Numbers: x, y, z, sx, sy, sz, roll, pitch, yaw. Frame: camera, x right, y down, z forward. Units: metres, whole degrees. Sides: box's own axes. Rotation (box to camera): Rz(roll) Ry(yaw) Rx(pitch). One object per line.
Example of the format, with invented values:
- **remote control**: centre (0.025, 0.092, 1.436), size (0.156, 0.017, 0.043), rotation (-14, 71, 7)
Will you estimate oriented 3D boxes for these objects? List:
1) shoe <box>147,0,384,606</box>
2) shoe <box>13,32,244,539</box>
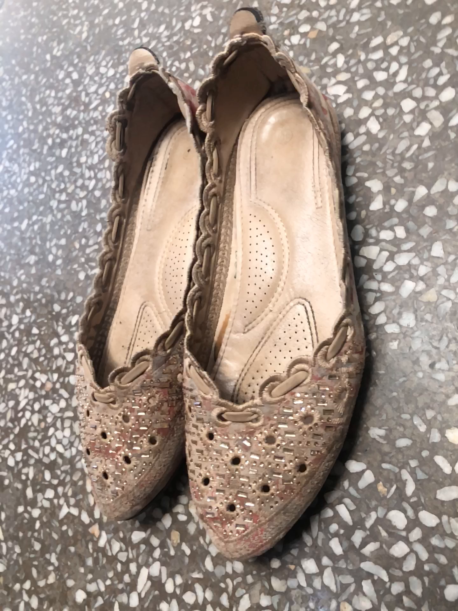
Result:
- **shoe**: centre (0.022, -0.015, 0.256), size (0.090, 0.040, 0.270), rotation (-1, 78, 32)
- **shoe**: centre (-0.056, -0.020, 0.312), size (0.090, 0.040, 0.280), rotation (-1, 74, 32)
